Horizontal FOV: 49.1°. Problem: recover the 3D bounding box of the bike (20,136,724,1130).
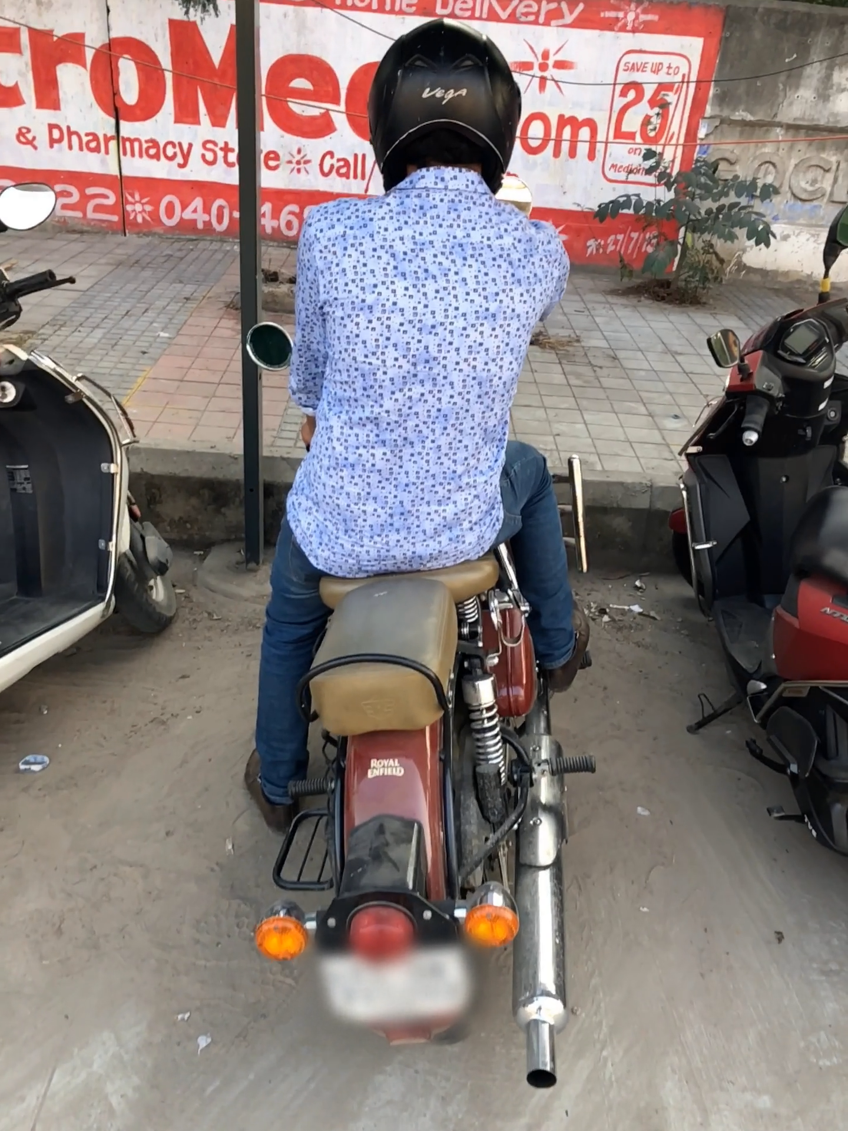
[{"bbox_3d":[-0.084,0.009,1.956,0.792,1.256,1.558,5,34,0],"label":"bike"}]
